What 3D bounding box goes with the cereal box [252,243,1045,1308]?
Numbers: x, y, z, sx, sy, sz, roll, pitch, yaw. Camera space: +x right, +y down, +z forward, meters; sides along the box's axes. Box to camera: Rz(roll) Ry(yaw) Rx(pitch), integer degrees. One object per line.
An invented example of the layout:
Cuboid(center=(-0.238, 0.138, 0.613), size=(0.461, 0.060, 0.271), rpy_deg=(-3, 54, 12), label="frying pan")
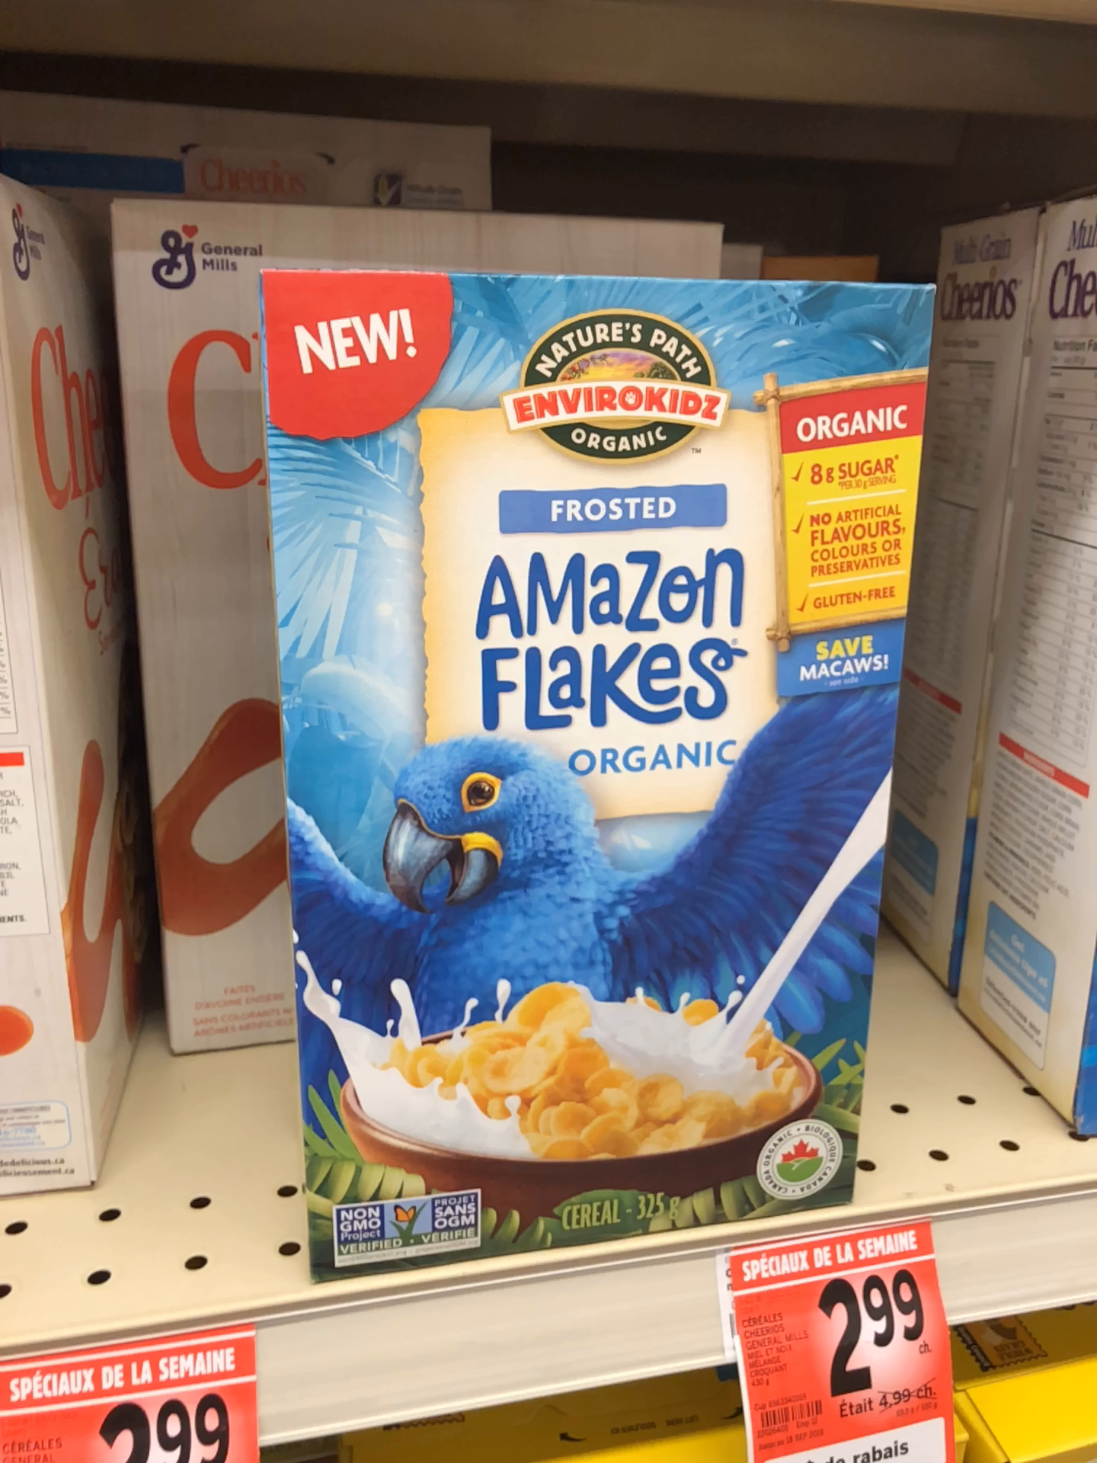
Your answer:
Cuboid(center=(0.019, 0.013, 0.310), size=(0.170, 0.249, 0.050), rpy_deg=(-3, 18, -13), label="cereal box")
